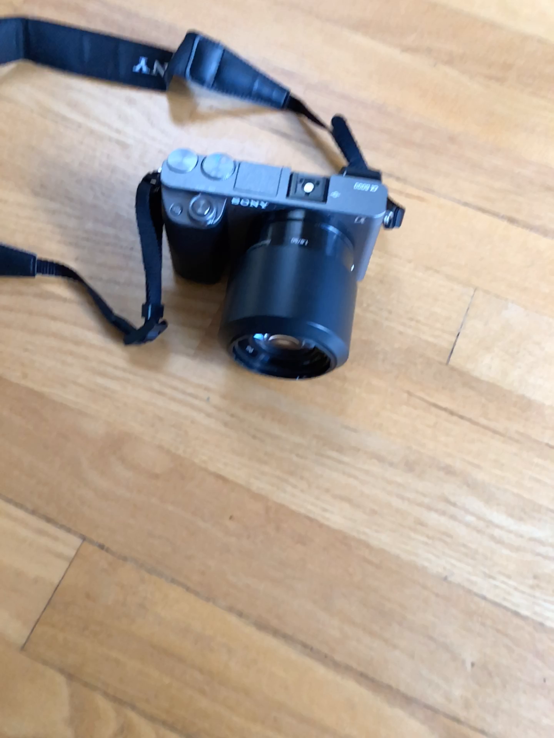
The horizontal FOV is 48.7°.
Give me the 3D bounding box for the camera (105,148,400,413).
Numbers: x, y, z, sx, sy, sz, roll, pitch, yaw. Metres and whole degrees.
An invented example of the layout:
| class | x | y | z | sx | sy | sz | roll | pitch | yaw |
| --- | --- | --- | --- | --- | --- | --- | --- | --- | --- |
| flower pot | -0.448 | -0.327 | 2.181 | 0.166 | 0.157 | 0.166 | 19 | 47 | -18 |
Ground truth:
| class | x | y | z | sx | sy | sz | roll | pitch | yaw |
| --- | --- | --- | --- | --- | --- | --- | --- | --- | --- |
| camera | -0.009 | -0.048 | 0.347 | 0.136 | 0.079 | 0.107 | 8 | 65 | 1 |
